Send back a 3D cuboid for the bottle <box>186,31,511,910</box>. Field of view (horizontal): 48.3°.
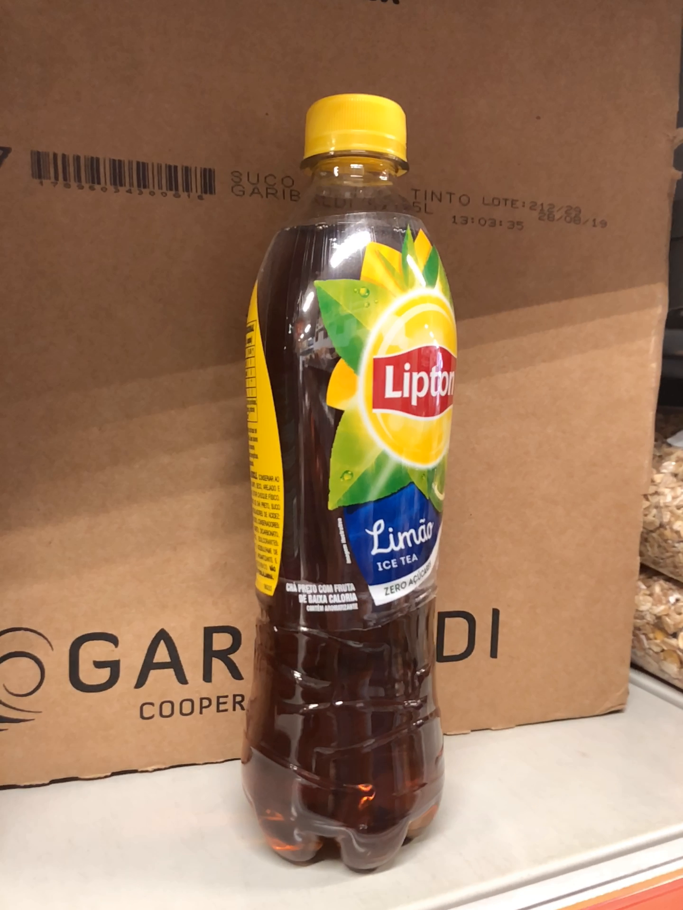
[{"bbox_3d":[0.000,0.007,0.231,0.070,0.219,0.060,-5,9,-42],"label":"bottle"}]
